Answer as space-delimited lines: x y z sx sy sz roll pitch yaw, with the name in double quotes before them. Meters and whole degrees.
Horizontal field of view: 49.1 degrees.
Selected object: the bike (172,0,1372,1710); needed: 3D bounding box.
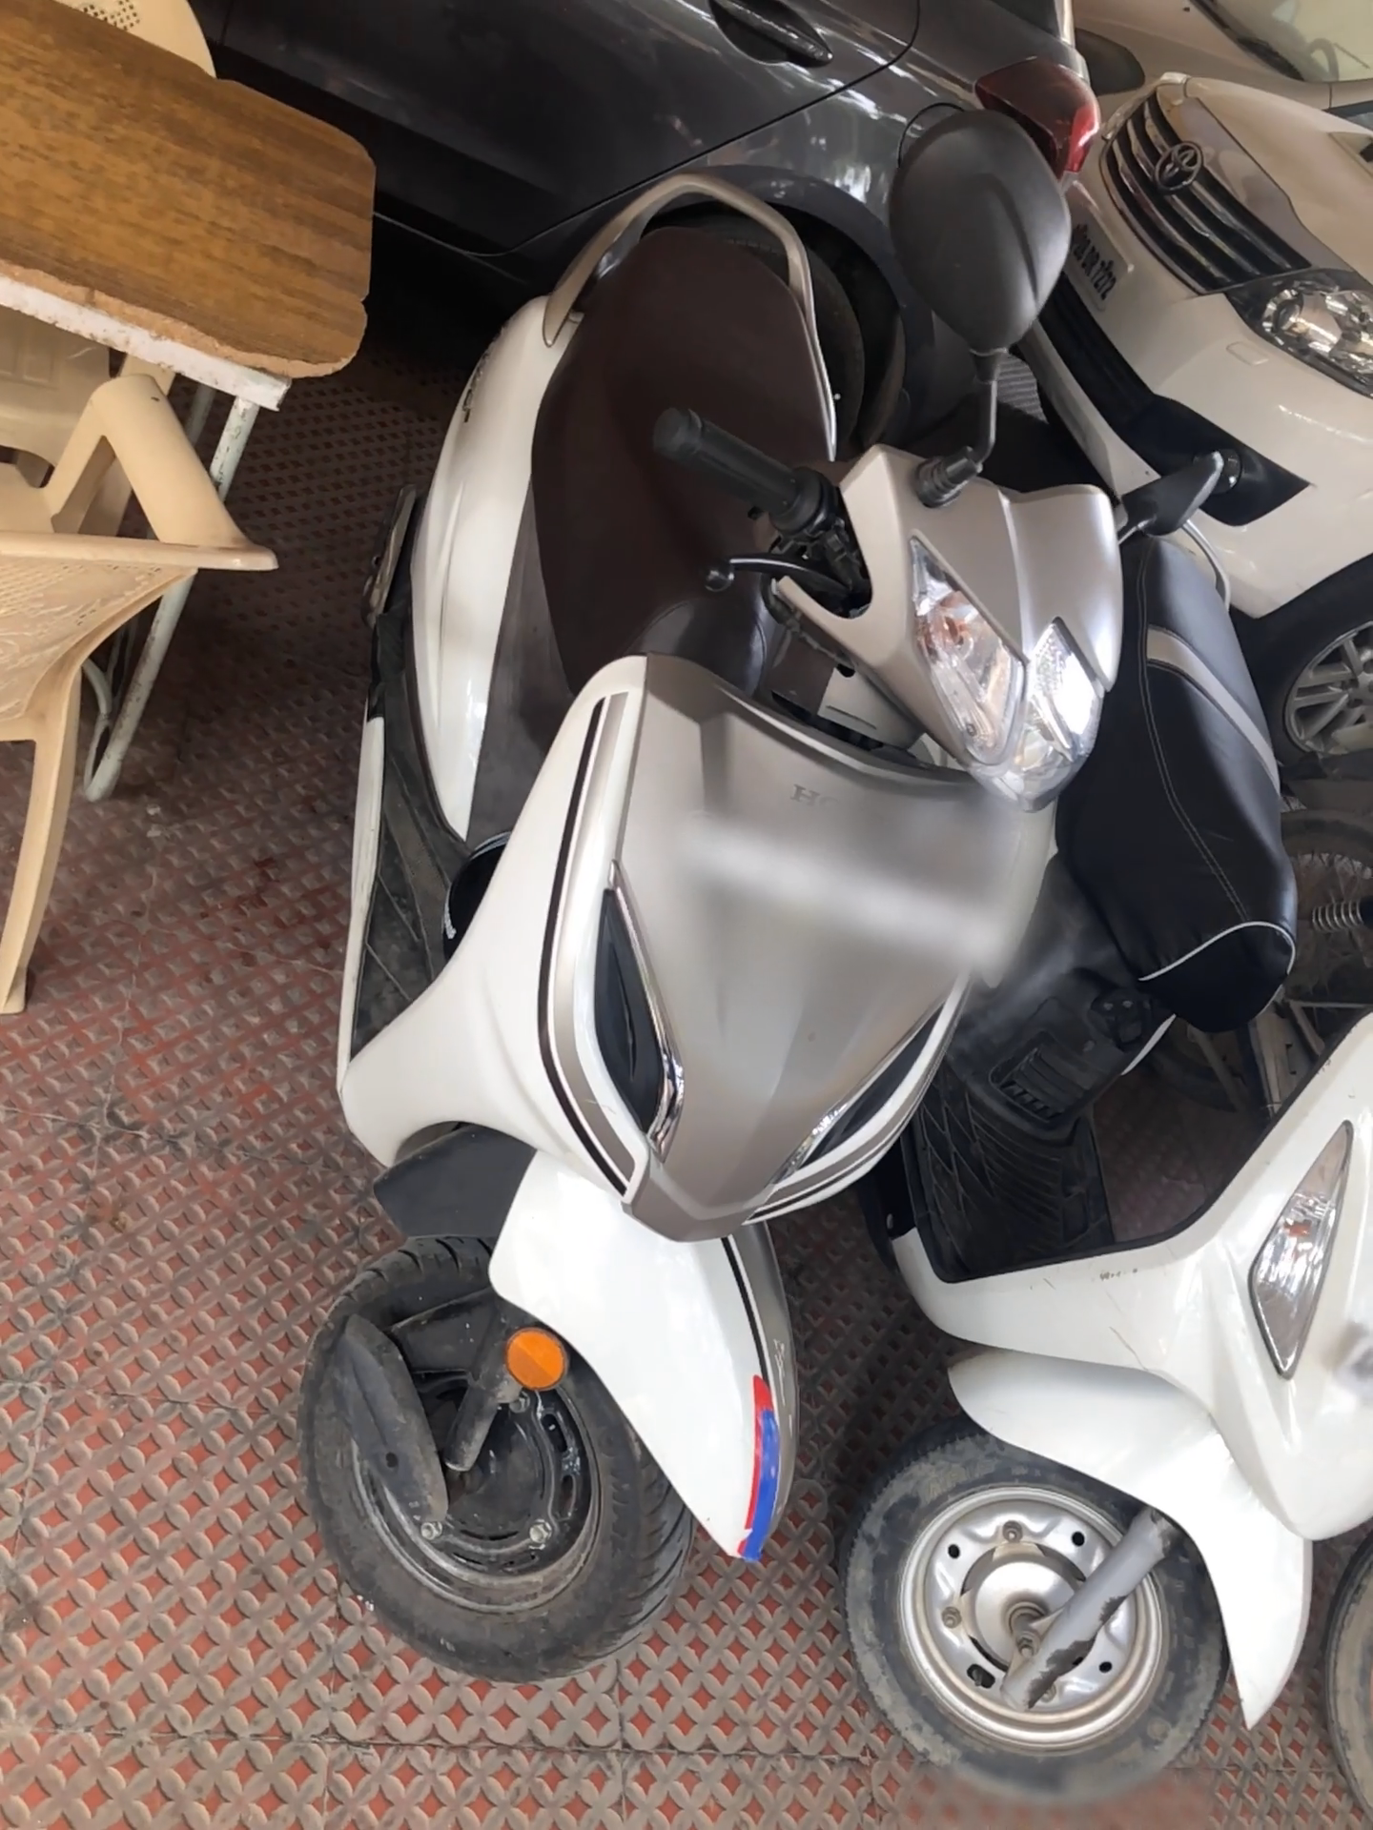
"bike" -0.036 -0.112 1.598 0.627 0.850 1.461 14 50 -27
